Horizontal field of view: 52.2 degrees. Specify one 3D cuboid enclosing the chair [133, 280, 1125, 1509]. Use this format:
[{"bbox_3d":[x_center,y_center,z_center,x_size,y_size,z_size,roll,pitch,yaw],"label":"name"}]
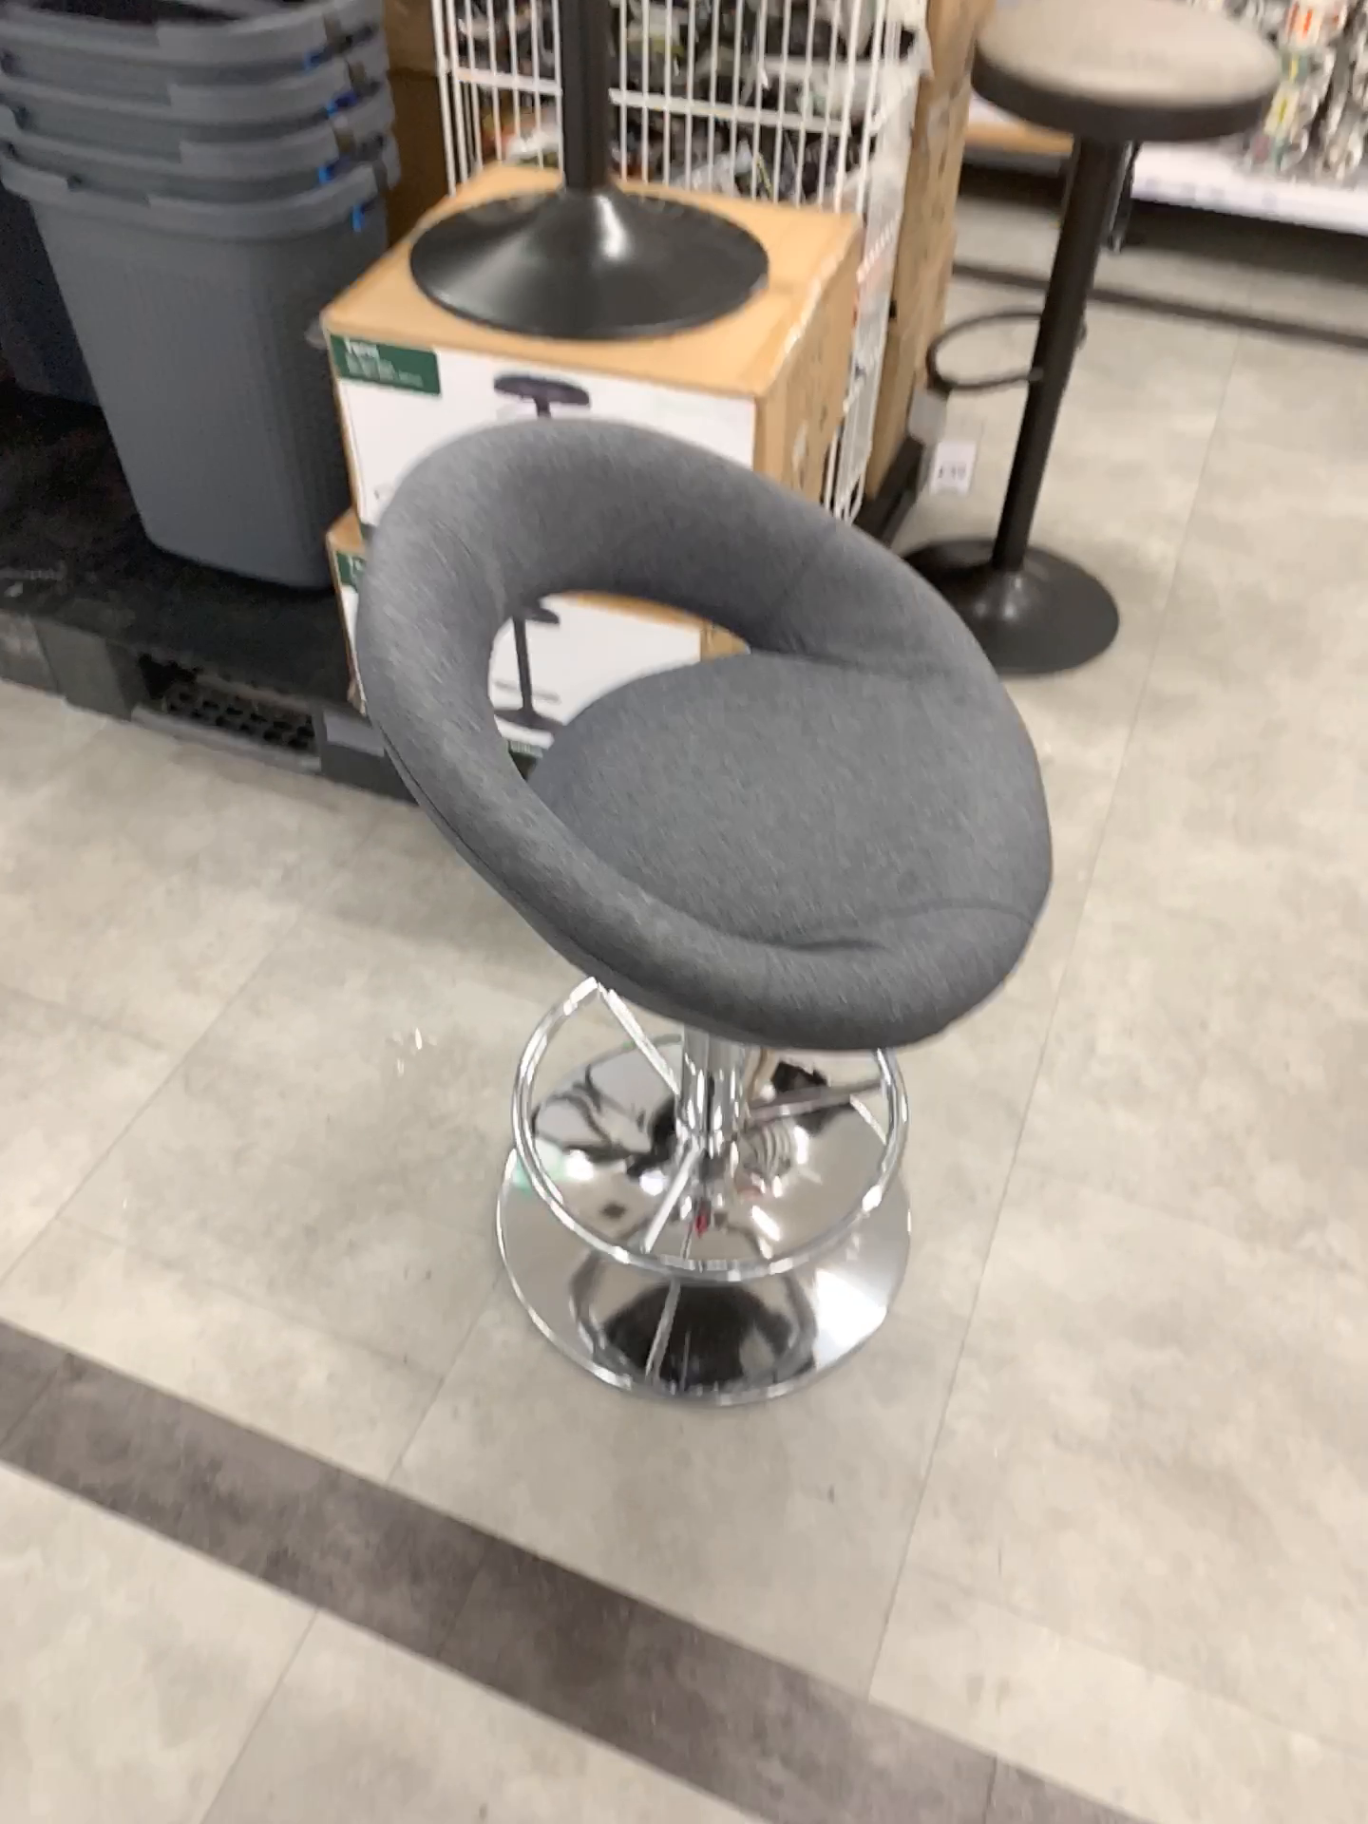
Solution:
[{"bbox_3d":[0.004,0.010,1.176,0.485,0.787,0.551,13,47,10],"label":"chair"}]
